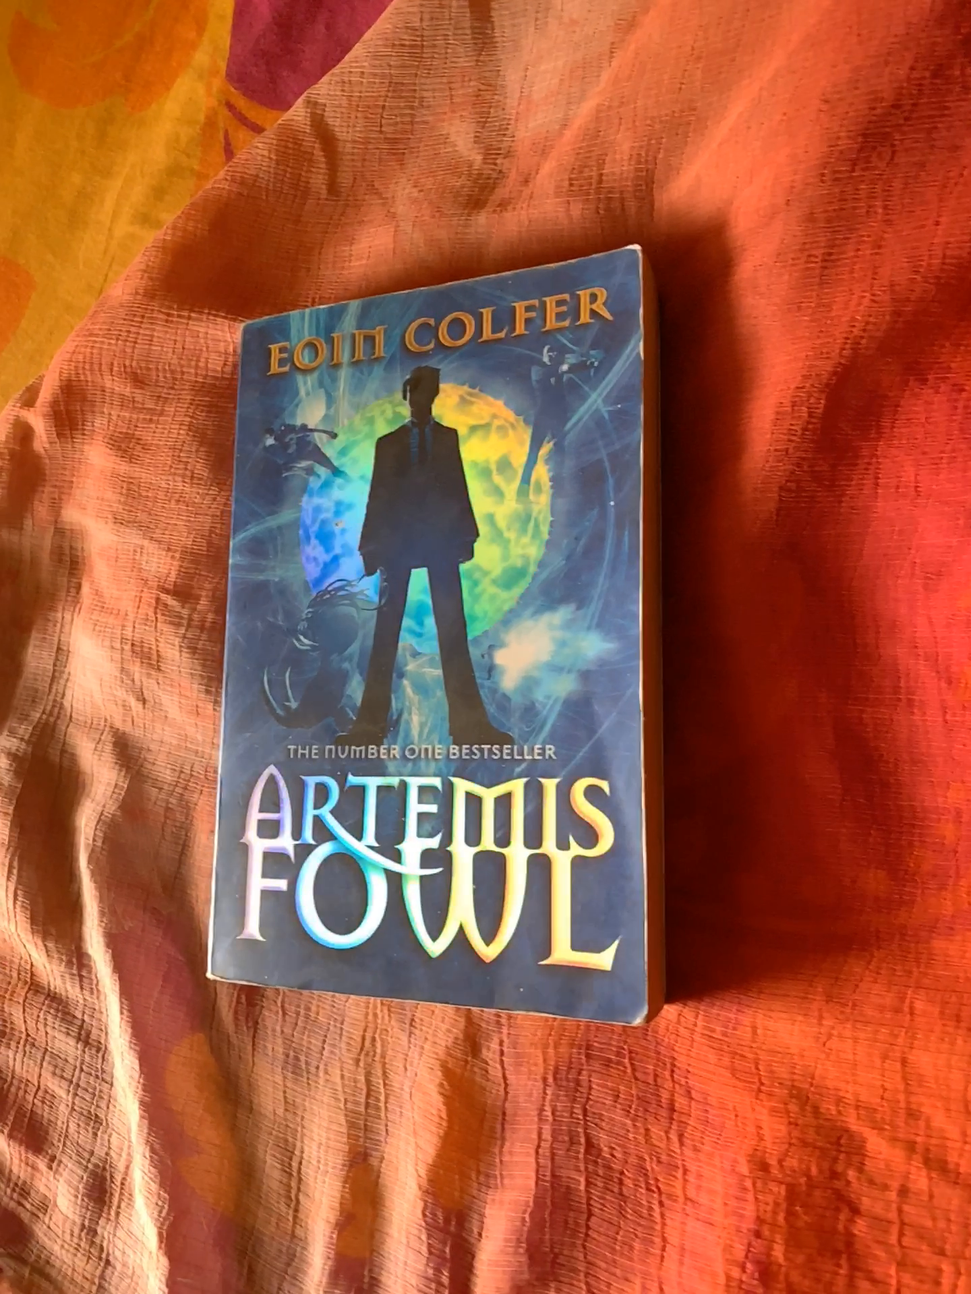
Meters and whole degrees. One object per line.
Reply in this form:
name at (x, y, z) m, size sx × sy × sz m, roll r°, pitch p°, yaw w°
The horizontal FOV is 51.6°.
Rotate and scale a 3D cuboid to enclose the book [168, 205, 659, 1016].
book at (-0.022, -0.009, 0.274) m, size 0.130 × 0.030 × 0.190 m, roll -2°, pitch 84°, yaw 24°
